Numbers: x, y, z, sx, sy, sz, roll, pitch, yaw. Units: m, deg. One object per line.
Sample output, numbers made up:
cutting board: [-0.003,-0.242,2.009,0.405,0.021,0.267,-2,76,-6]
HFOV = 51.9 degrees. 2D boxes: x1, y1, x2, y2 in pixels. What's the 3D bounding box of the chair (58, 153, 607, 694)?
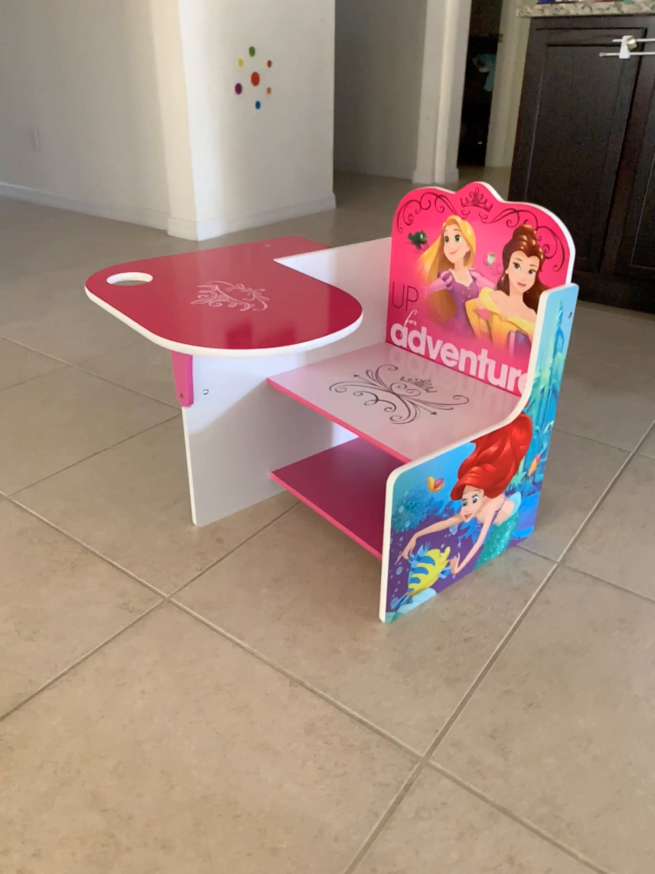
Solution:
chair: [-0.003,-0.105,1.065,0.550,0.566,0.534,-21,35,-36]
